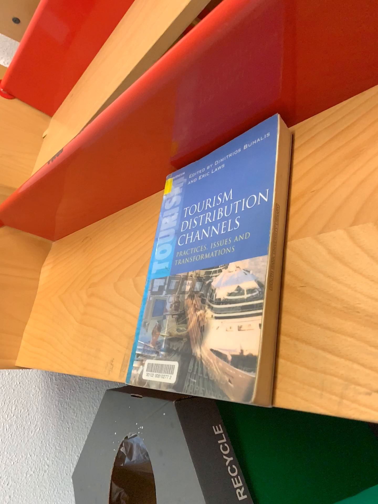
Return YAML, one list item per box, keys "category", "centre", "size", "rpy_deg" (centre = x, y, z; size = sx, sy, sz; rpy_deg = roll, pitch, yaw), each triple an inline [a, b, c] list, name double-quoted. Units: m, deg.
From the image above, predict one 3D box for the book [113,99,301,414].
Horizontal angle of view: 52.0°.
- category: "book"
  centre: [0.013, 0.004, 0.349]
  size: [0.168, 0.030, 0.238]
  rpy_deg: [-14, 60, 48]
